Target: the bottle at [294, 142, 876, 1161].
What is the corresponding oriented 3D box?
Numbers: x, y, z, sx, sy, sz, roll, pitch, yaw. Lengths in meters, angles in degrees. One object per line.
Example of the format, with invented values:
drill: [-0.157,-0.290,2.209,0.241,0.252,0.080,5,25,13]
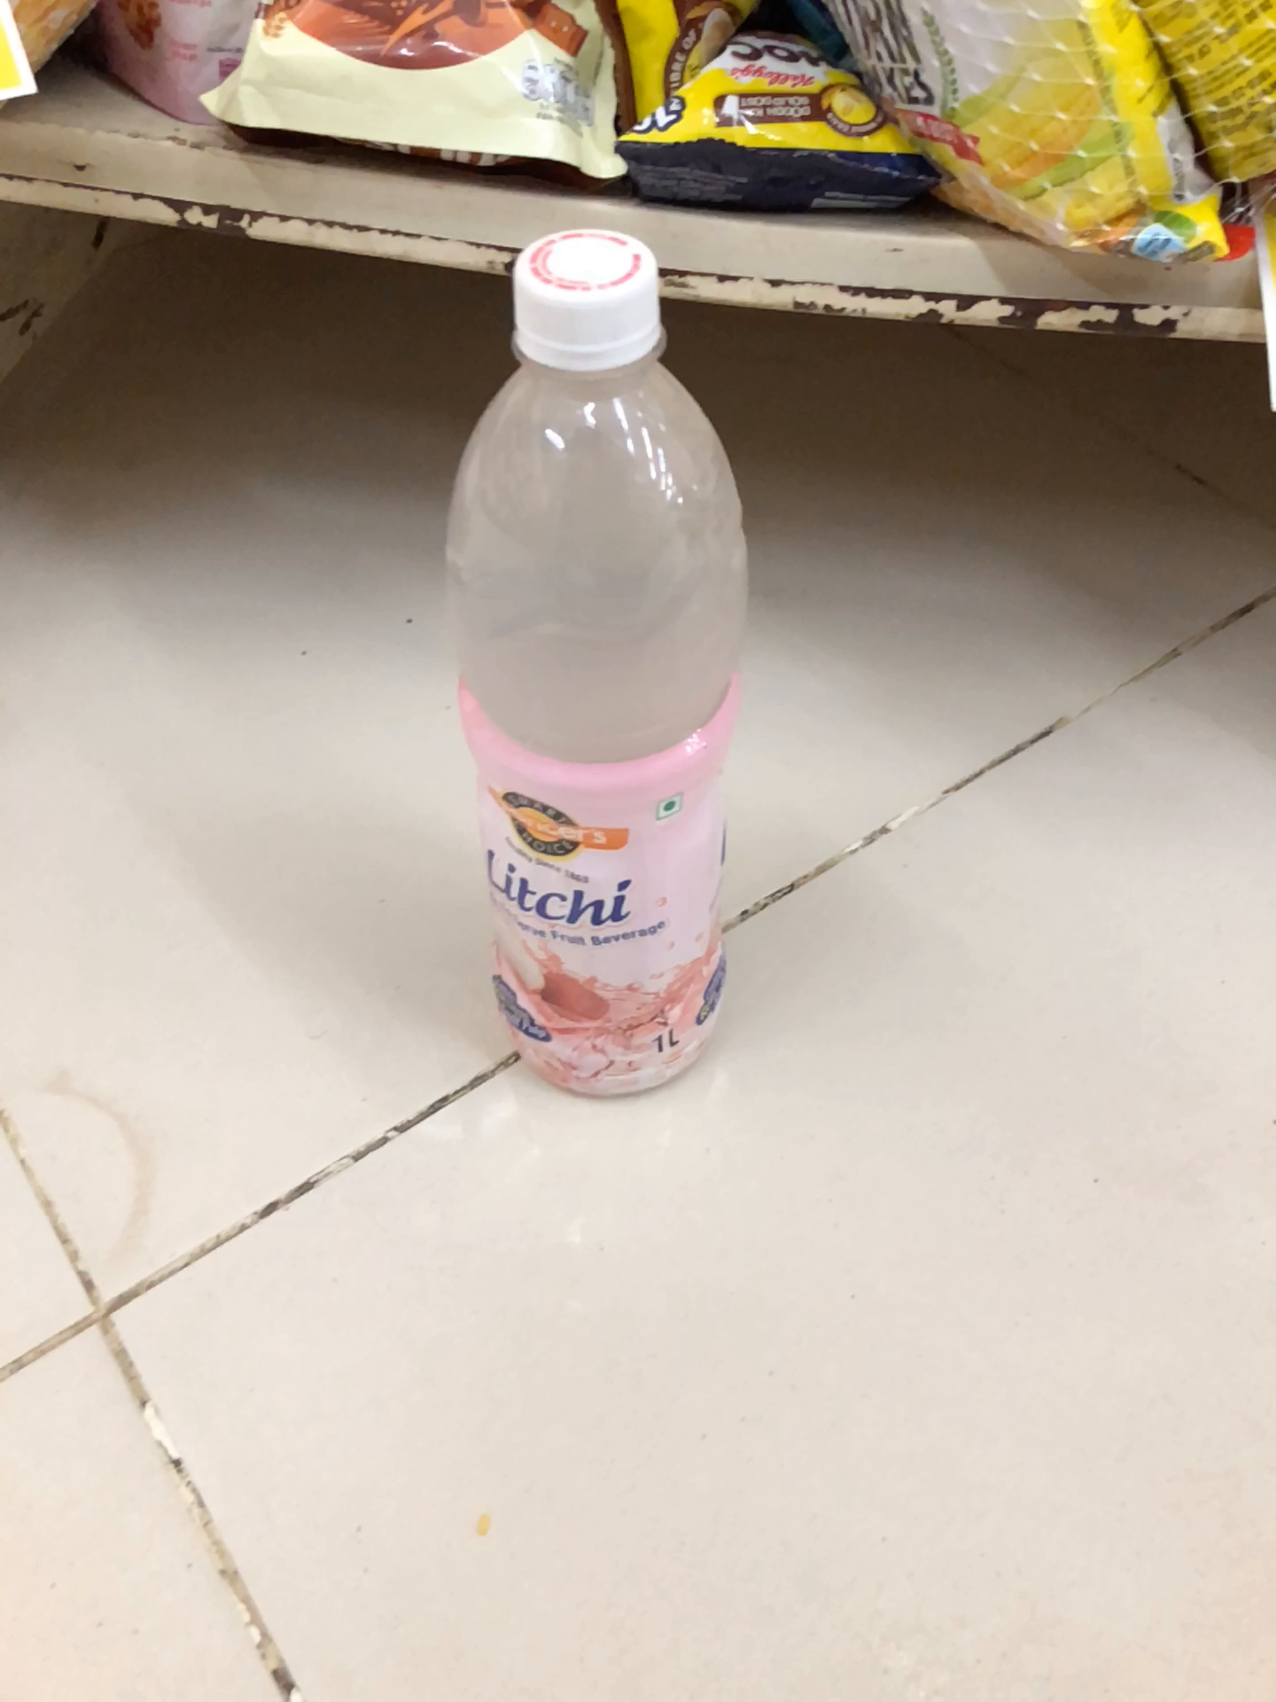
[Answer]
bottle: [-0.007,-0.030,0.349,0.080,0.238,0.081,0,49,0]
